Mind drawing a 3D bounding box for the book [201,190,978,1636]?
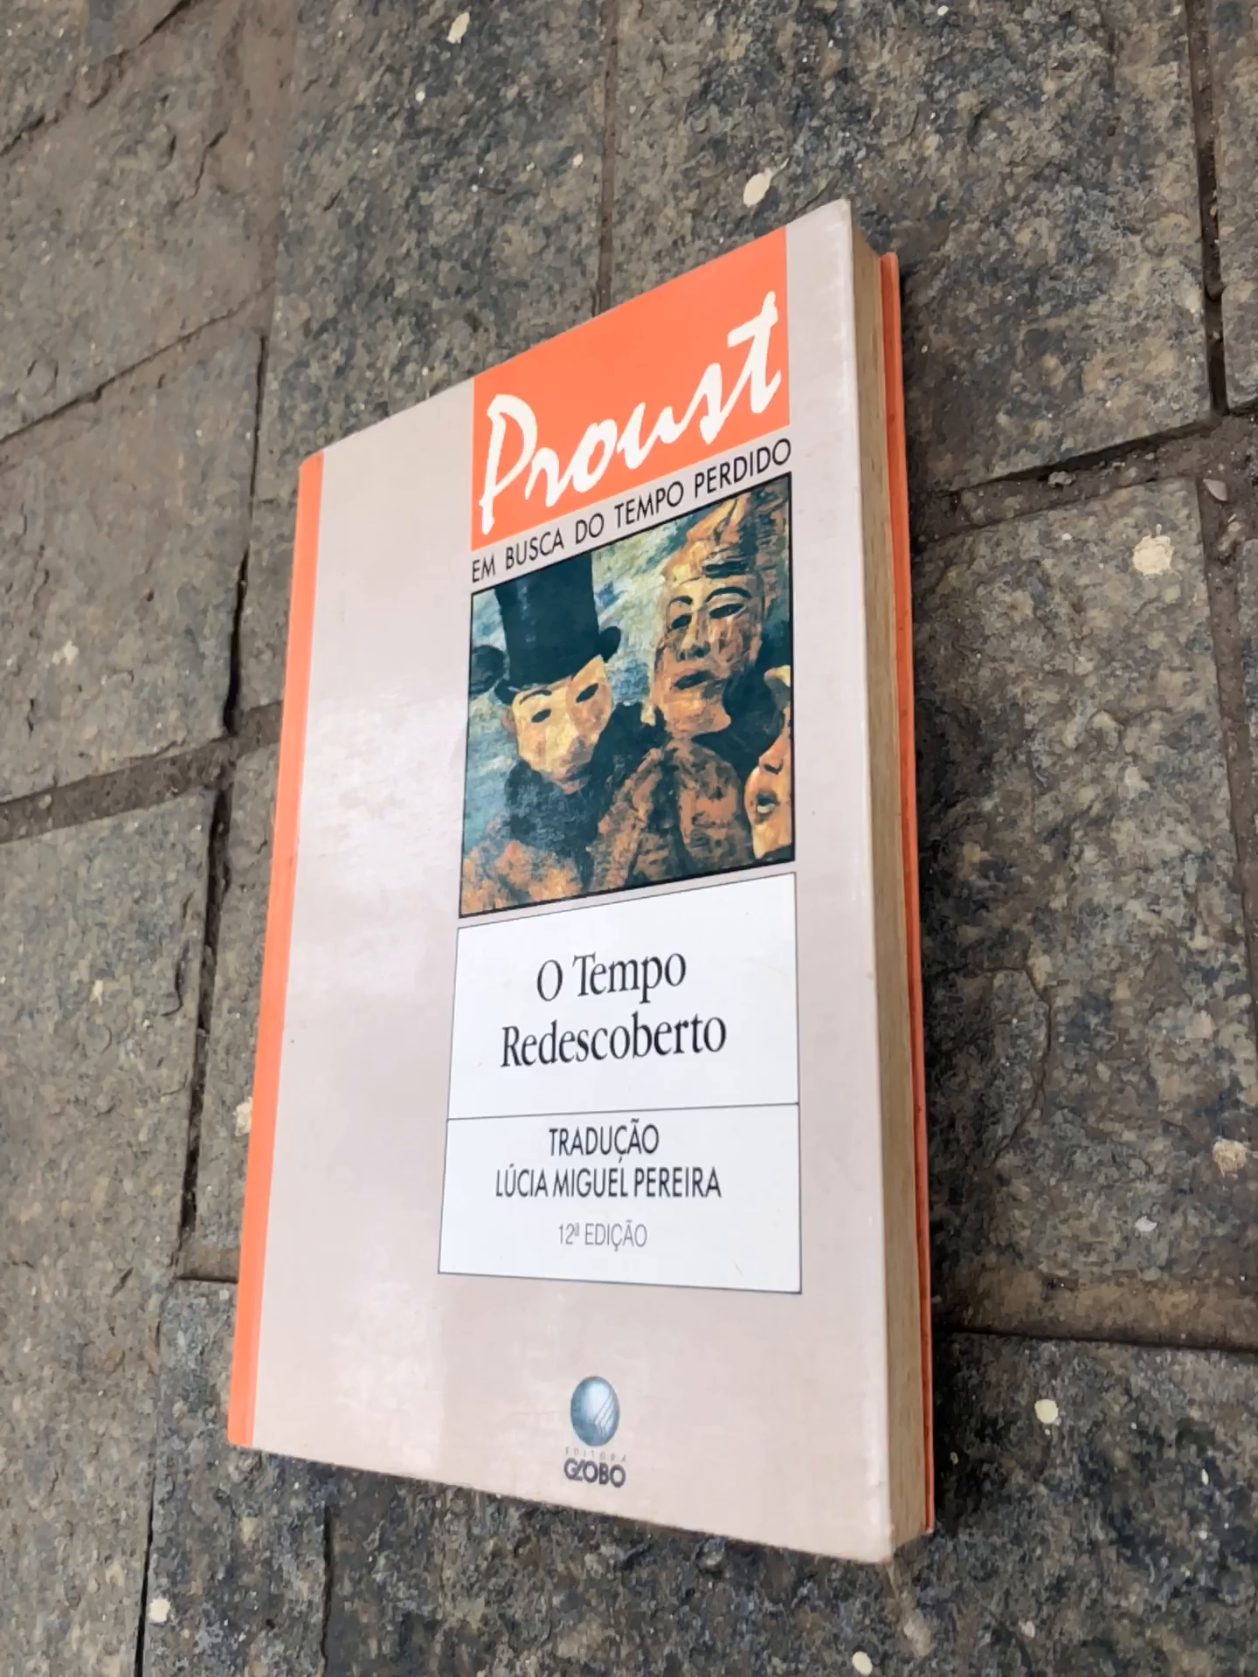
[{"bbox_3d":[-0.014,0.009,0.238,0.134,0.023,0.199,-11,71,37],"label":"book"}]
